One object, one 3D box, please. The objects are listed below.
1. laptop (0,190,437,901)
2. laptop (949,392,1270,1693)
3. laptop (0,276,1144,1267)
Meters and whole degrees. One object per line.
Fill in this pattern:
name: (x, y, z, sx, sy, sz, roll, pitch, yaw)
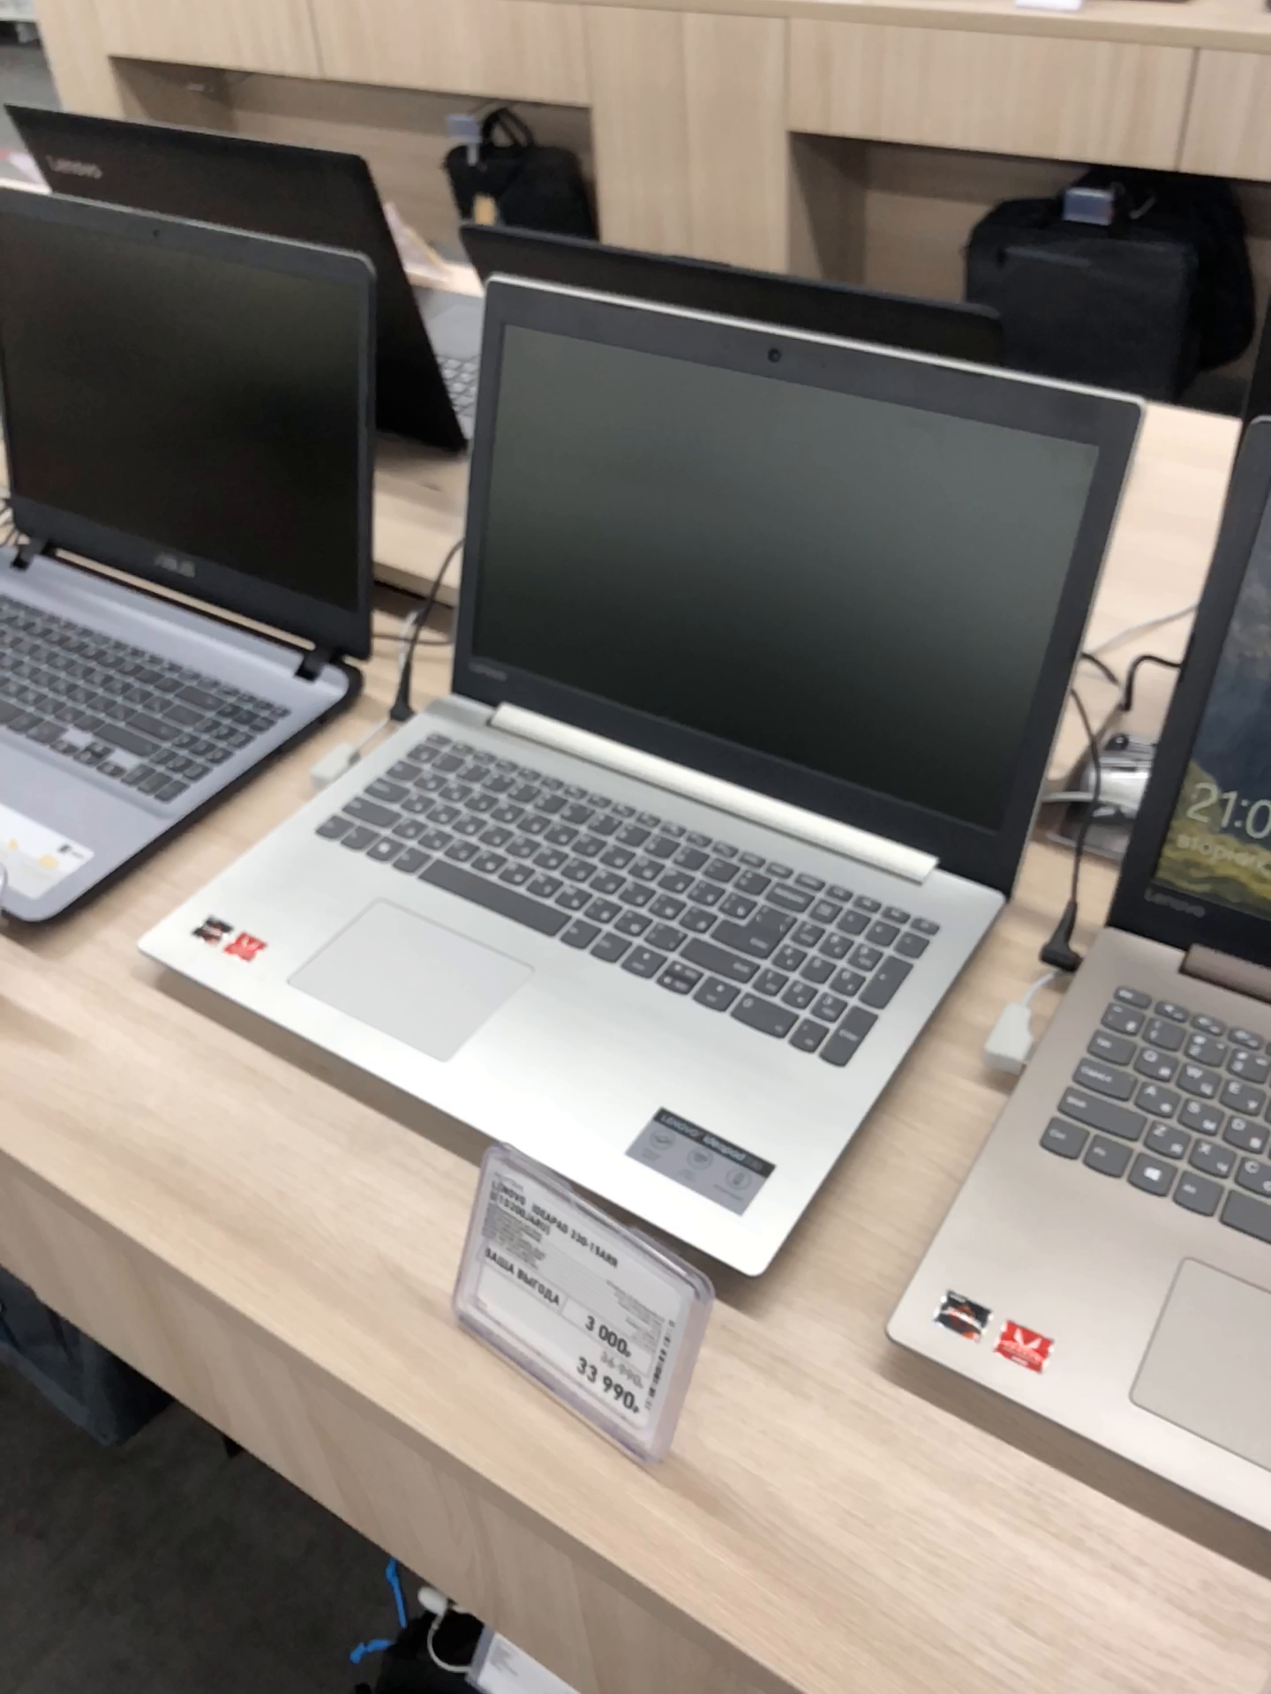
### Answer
laptop: (-0.372, -0.200, 0.834, 0.327, 0.232, 0.319, 22, 48, 28)
laptop: (0.327, 0.058, 0.473, 0.357, 0.222, 0.327, 20, 47, 25)
laptop: (-0.018, -0.075, 0.666, 0.366, 0.220, 0.336, 21, 48, 27)
